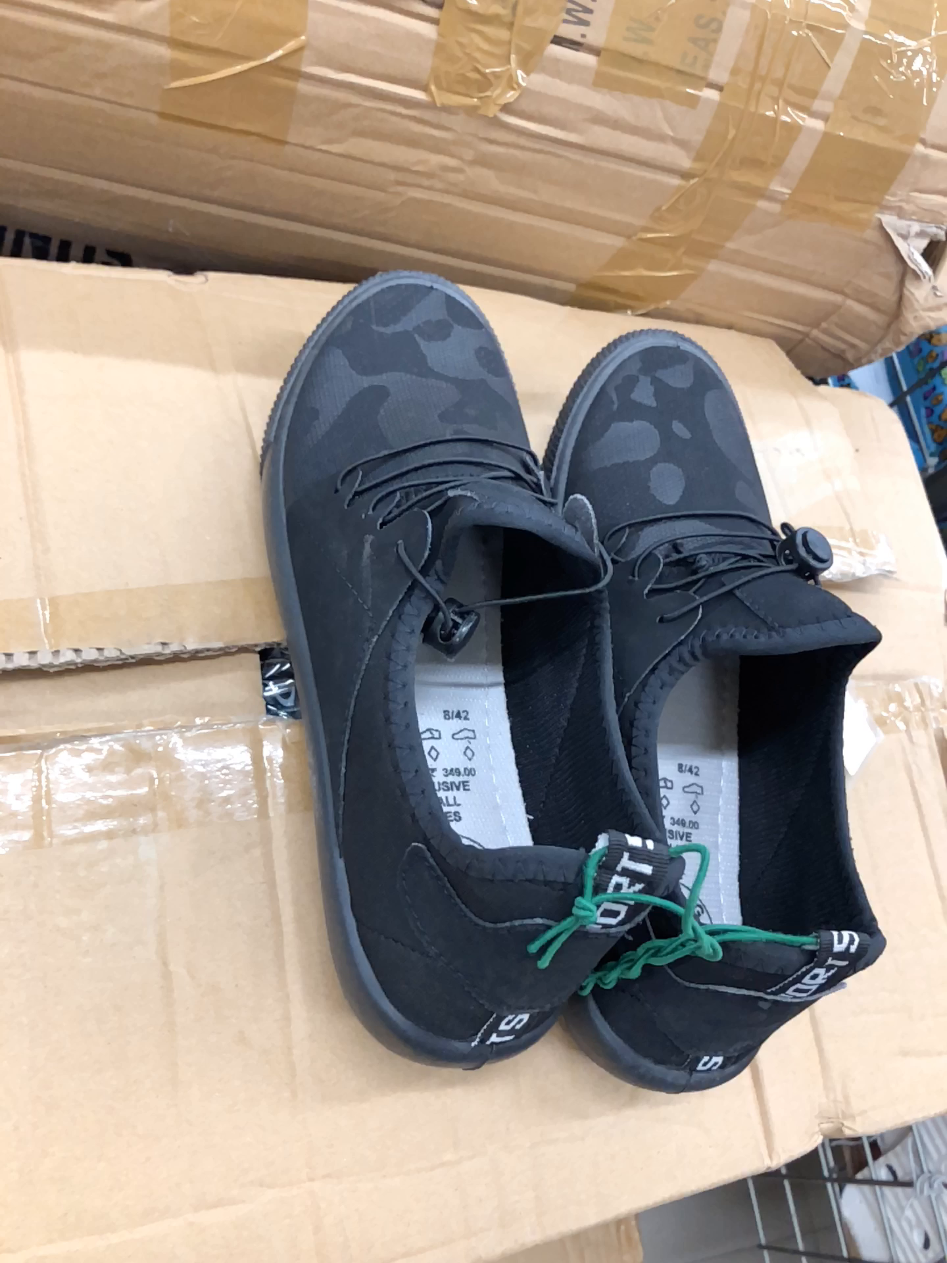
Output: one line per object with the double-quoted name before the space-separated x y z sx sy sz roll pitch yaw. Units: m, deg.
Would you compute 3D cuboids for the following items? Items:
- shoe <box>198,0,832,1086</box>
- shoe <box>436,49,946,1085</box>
"shoe" -0.011 -0.033 0.333 0.120 0.129 0.311 5 64 -23
"shoe" 0.074 -0.021 0.370 0.120 0.129 0.321 7 64 -22
